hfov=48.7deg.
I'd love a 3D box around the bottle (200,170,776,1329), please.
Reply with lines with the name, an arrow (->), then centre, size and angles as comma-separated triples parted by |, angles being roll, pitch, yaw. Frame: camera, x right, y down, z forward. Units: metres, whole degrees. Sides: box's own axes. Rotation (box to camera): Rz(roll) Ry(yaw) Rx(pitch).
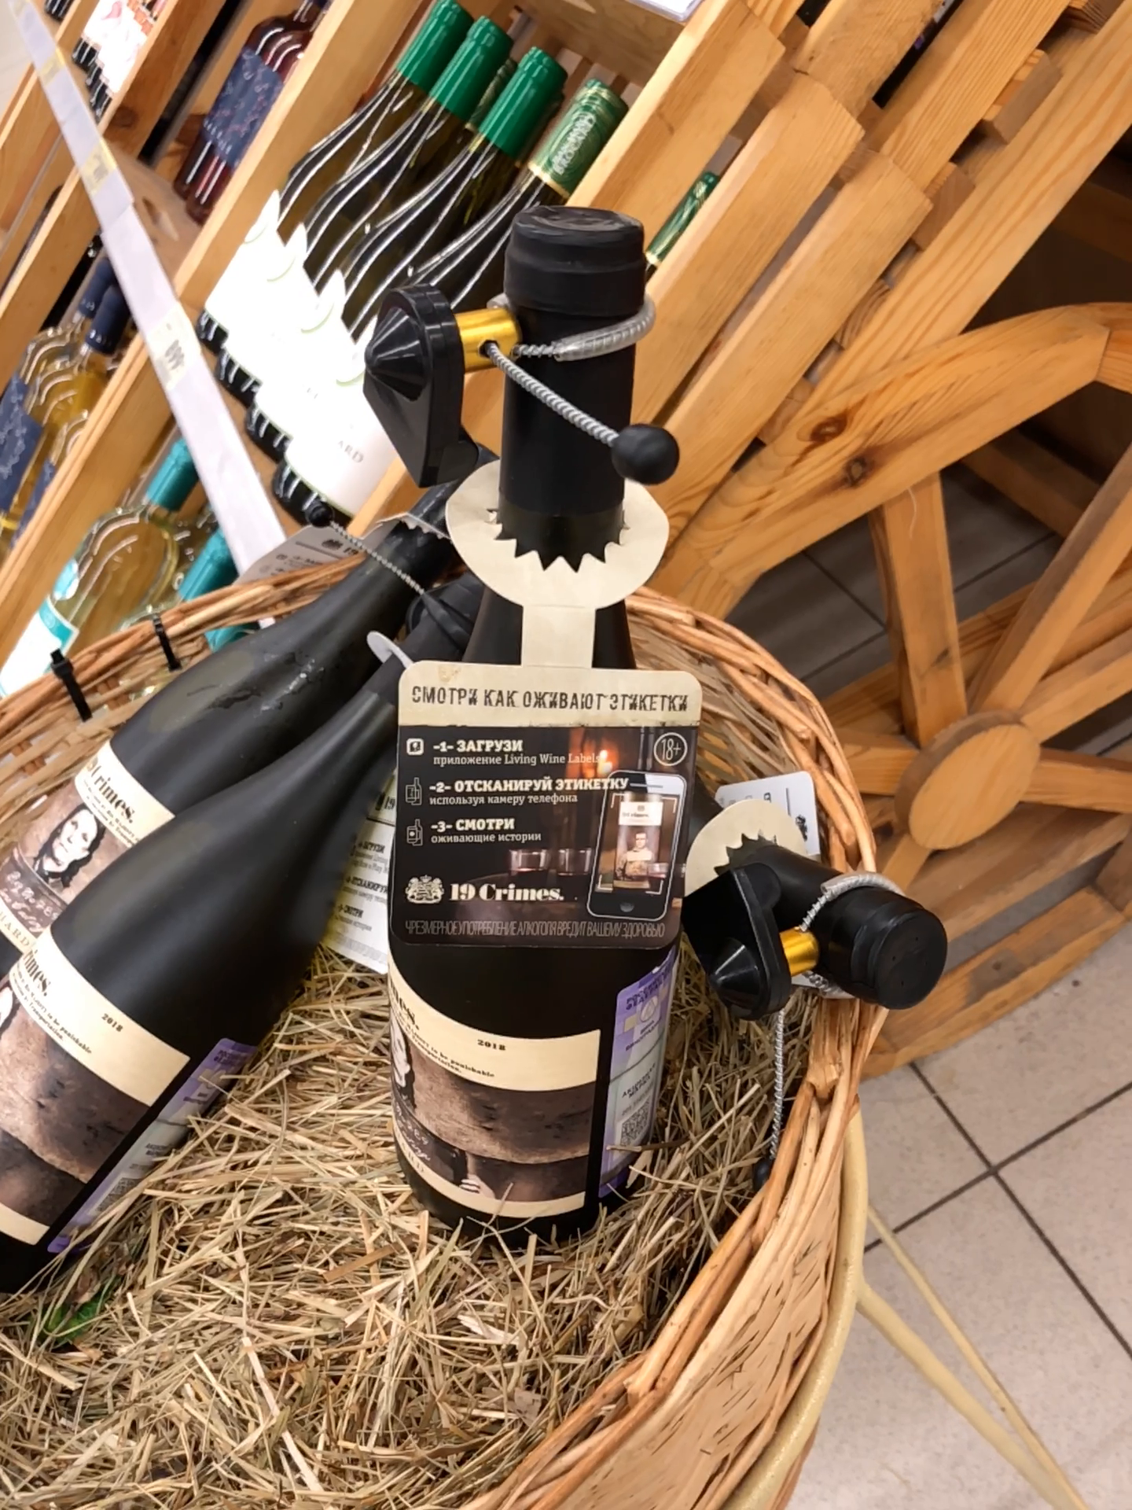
bottle -> -0.018, 0.017, 0.327 | 0.080, 0.289, 0.090 | -18, 40, -22
